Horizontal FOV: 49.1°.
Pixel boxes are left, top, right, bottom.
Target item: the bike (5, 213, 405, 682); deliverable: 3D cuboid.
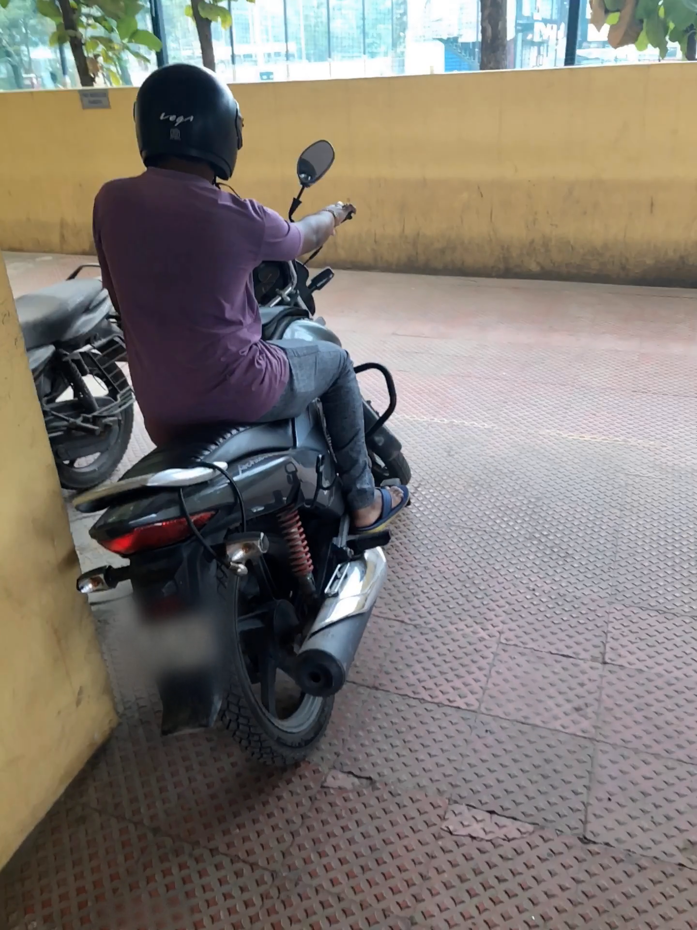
[{"bbox_3d":[-0.243,-0.160,2.317,0.699,0.999,1.244,2,26,9],"label":"bike"}]
